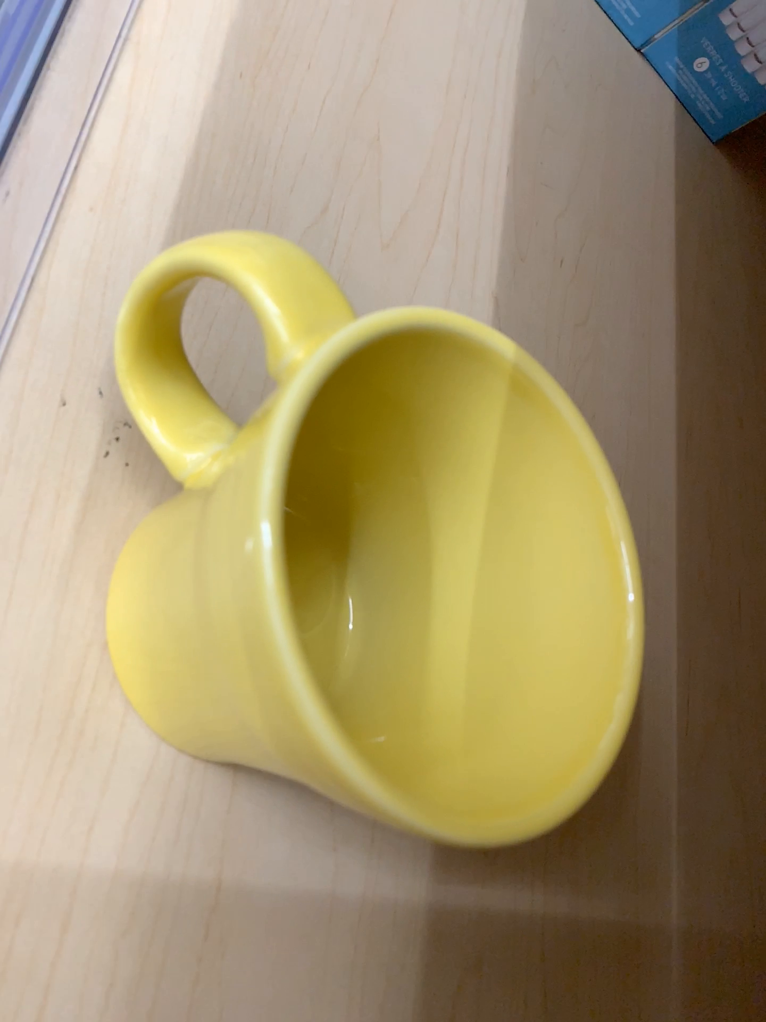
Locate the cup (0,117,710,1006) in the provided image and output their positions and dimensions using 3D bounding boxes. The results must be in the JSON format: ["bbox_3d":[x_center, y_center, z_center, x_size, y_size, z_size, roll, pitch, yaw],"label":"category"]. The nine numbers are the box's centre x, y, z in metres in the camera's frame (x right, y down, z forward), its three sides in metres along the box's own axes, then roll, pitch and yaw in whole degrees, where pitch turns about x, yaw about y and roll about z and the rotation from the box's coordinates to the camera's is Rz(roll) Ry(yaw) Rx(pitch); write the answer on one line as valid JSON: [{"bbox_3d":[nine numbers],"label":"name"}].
[{"bbox_3d":[-0.011,0.009,0.185,0.104,0.088,0.139,-42,106,-40],"label":"cup"}]
